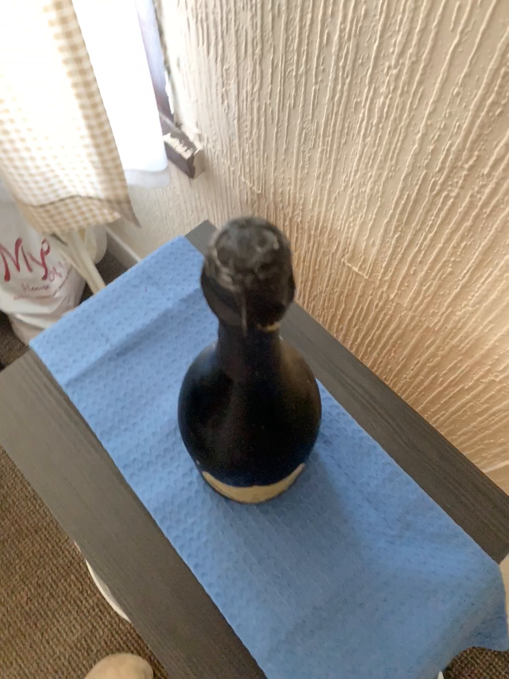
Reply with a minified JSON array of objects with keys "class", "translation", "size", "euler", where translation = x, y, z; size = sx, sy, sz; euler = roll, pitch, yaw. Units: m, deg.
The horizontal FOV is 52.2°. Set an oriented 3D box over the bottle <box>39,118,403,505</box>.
[{"class":"bottle","translation":[-0.008,0.027,0.300],"size":[0.100,0.299,0.100],"euler":[0,67,0]}]
